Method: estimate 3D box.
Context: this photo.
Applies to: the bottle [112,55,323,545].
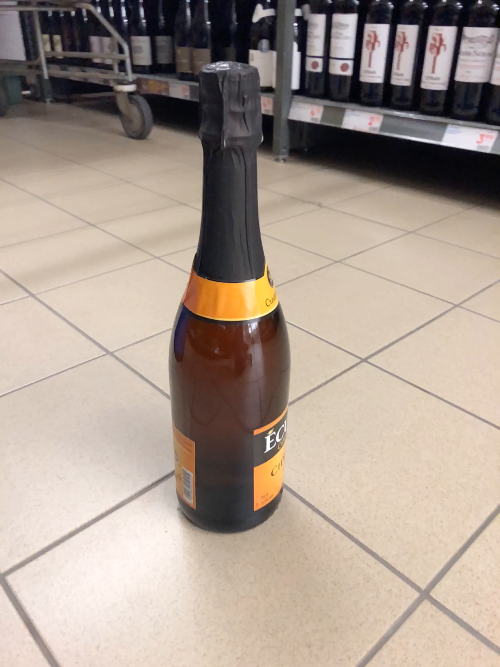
[{"bbox_3d":[-0.013,-0.010,0.356,0.090,0.298,0.091,1,29,0],"label":"bottle"}]
